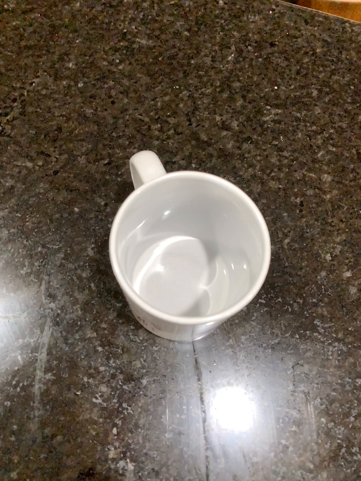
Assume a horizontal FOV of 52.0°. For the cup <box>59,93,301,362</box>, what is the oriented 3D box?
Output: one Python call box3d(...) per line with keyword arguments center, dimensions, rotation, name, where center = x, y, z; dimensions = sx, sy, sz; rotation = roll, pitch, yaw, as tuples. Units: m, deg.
box3d(center=(-0.006, -0.002, 0.238), dimensions=(0.081, 0.098, 0.124), rotation=(-23, 72, -11), name="cup")
